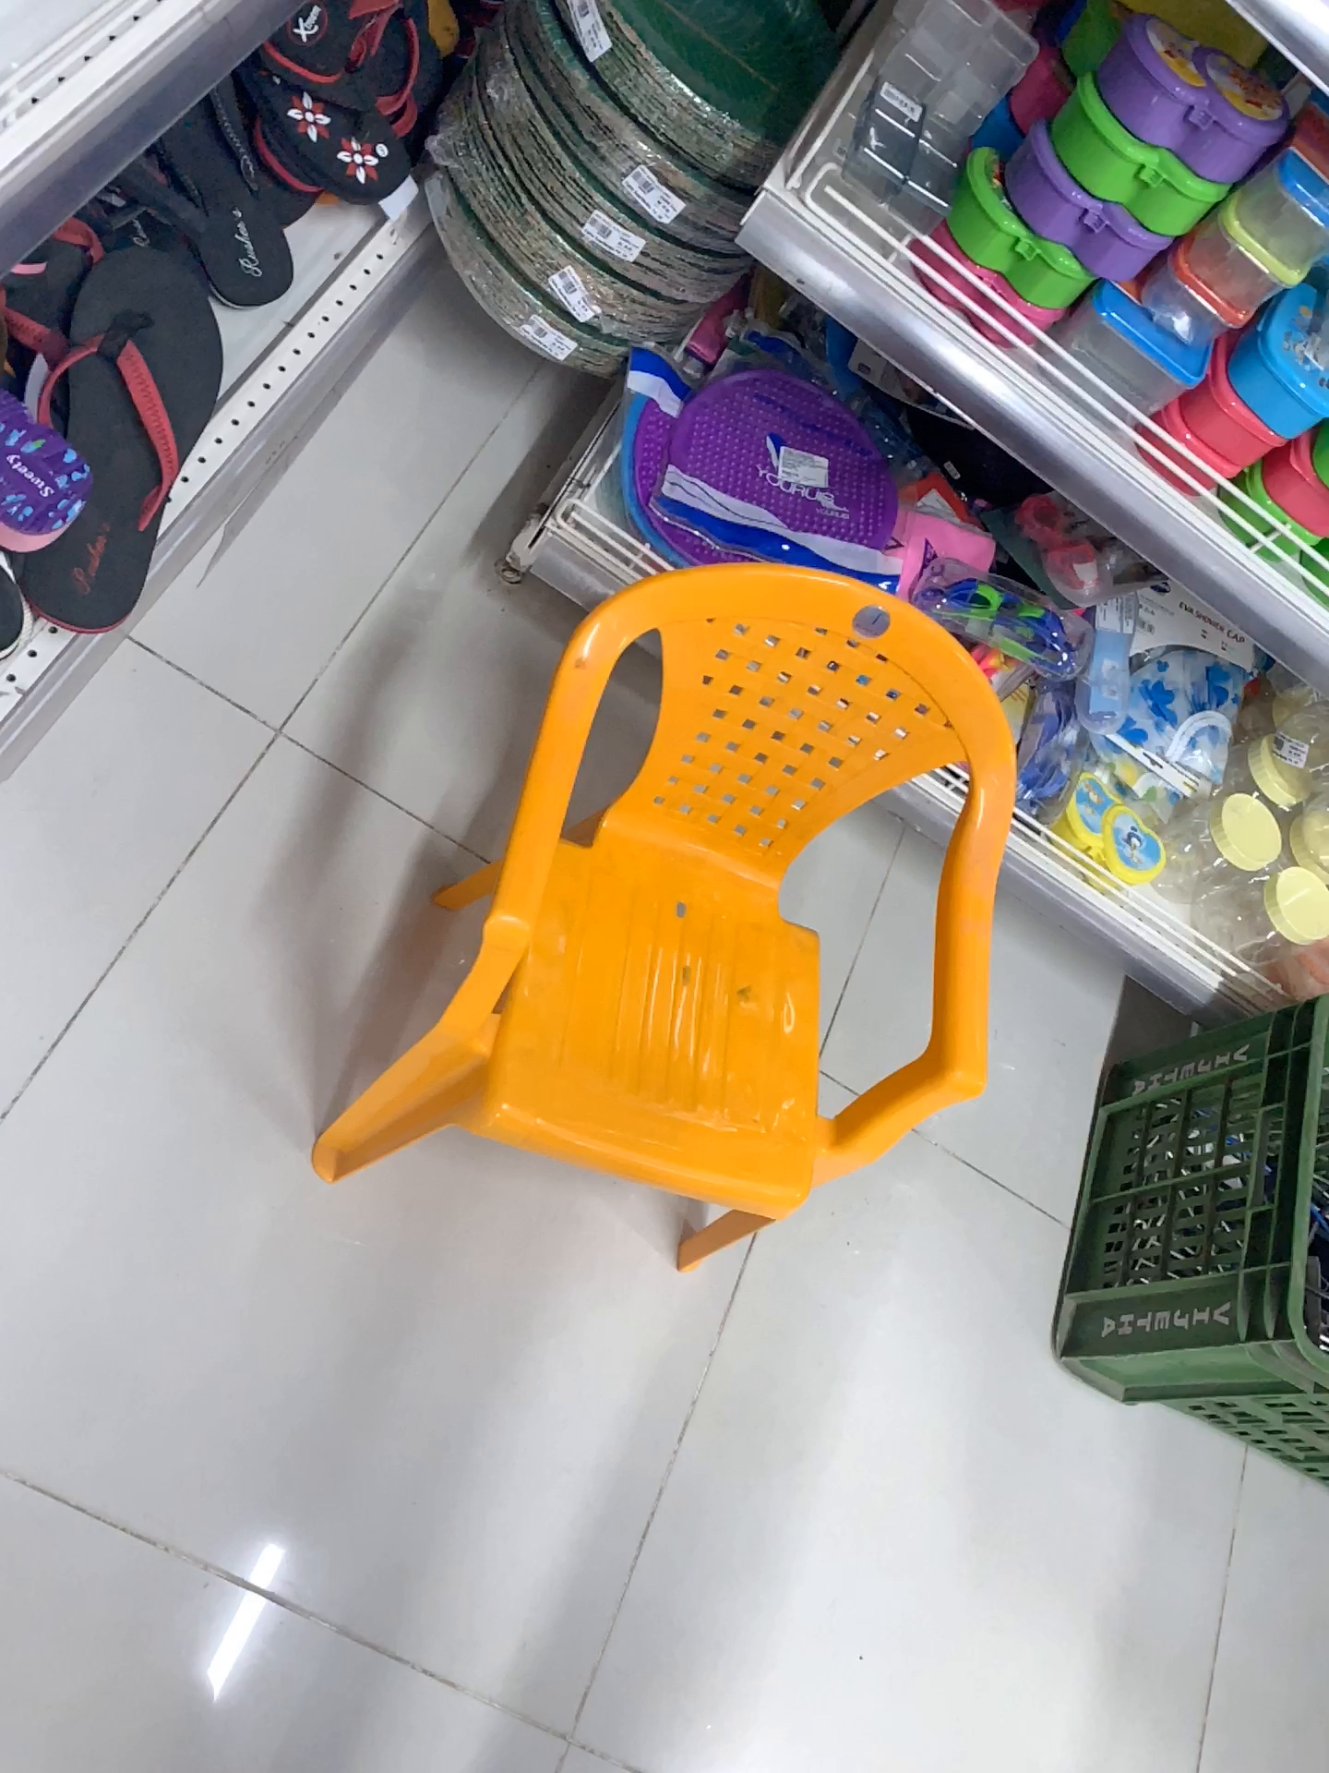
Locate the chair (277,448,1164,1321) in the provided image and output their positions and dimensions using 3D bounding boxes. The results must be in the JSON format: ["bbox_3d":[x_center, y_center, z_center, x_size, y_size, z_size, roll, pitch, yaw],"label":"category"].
[{"bbox_3d":[0.023,0.055,0.941,0.401,0.459,0.360,20,62,-19],"label":"chair"}]
